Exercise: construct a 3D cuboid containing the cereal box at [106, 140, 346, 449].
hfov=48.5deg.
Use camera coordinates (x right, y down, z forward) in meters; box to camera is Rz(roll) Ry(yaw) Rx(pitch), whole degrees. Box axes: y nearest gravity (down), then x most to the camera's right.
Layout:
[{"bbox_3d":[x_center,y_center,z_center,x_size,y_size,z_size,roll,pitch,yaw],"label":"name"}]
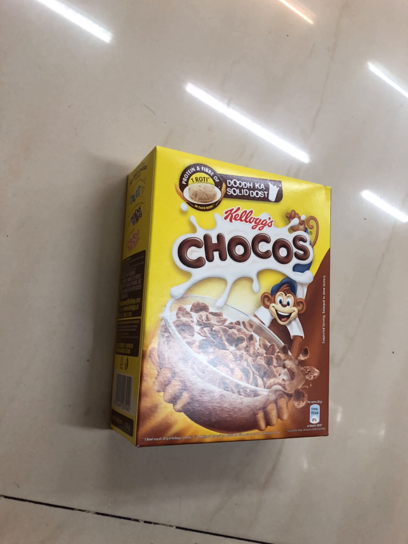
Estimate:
[{"bbox_3d":[0.019,0.019,0.301,0.140,0.050,0.170,8,83,-26],"label":"cereal box"}]
